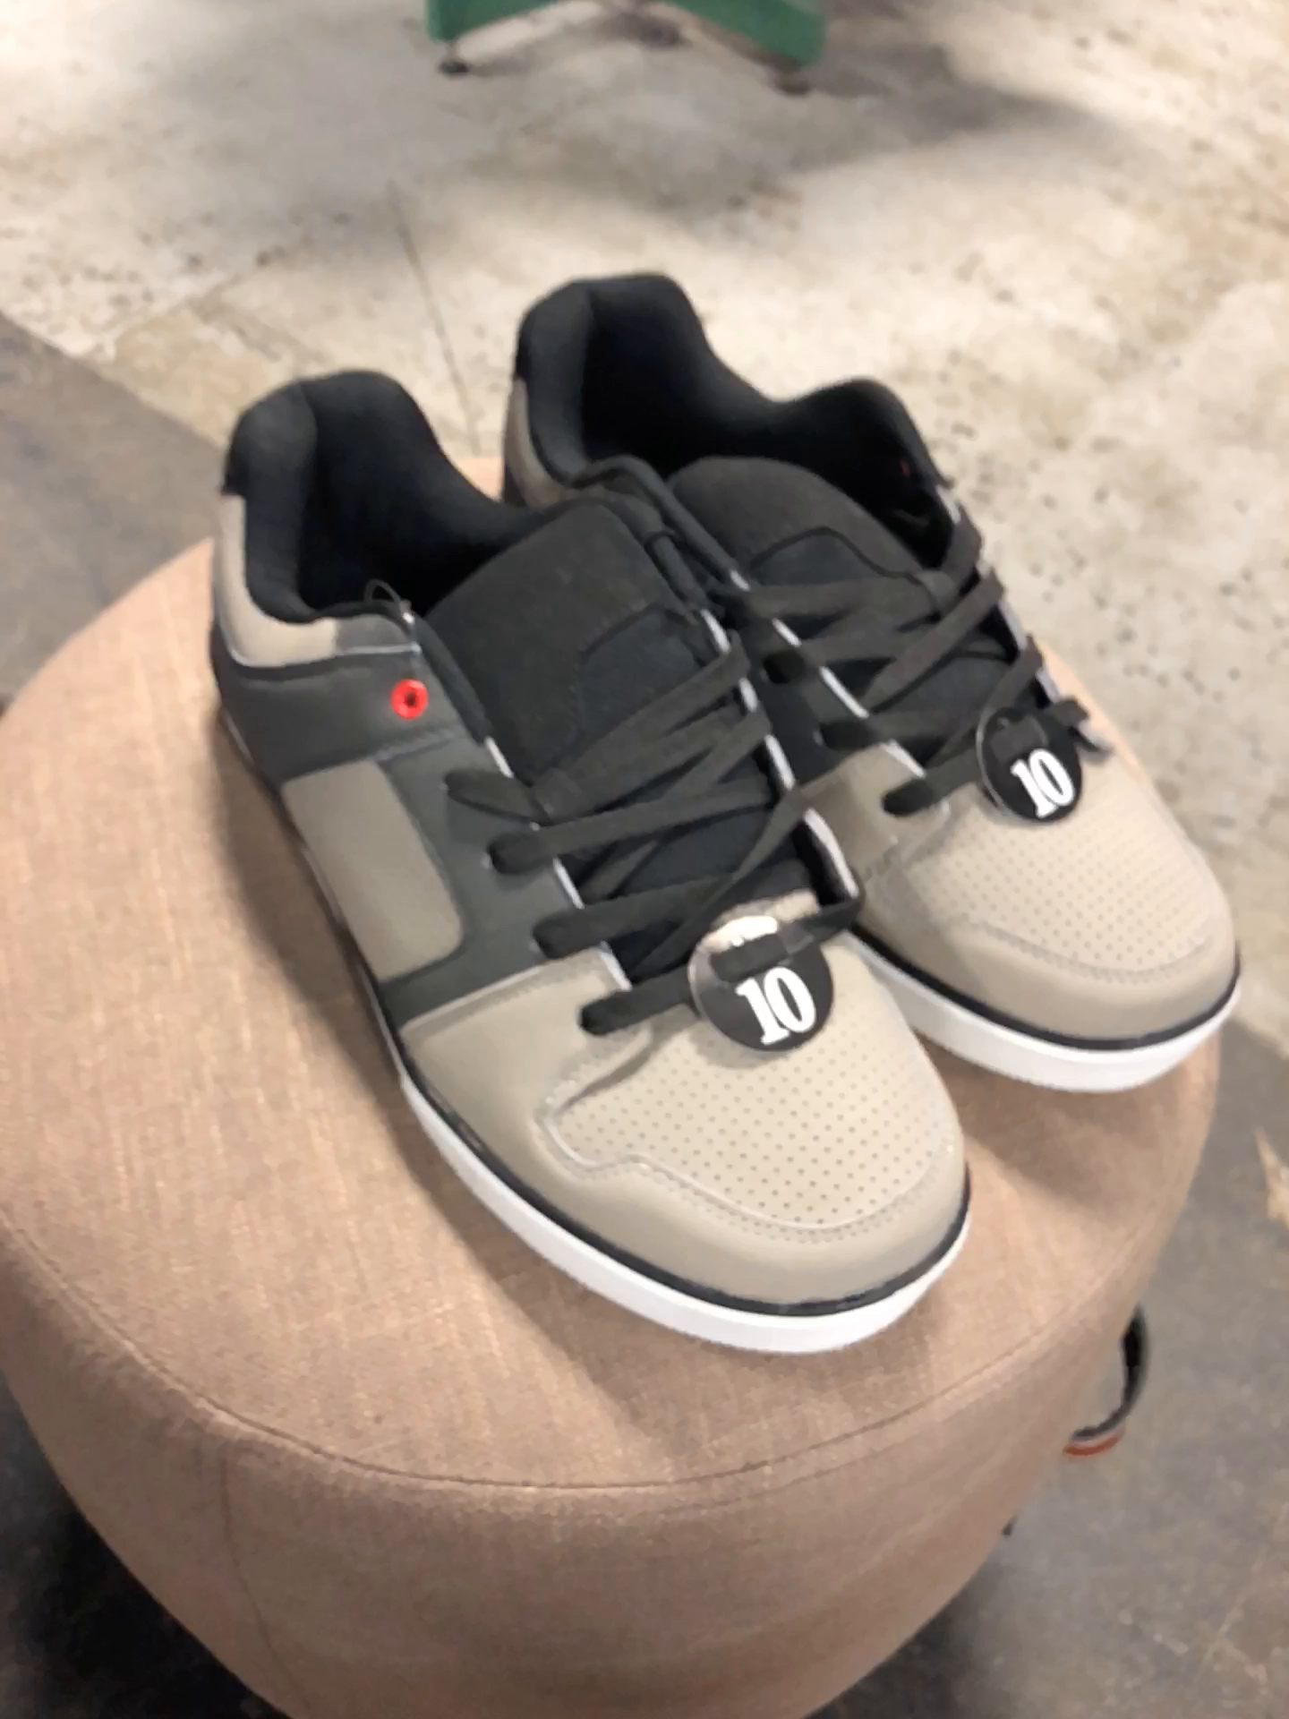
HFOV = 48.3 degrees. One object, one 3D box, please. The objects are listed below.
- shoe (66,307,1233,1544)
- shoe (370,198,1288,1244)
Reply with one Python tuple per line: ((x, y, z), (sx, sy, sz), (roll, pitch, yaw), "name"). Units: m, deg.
((-0.019, -0.002, 0.350), (0.120, 0.119, 0.261), (-27, 58, -23), "shoe")
((0.057, -0.062, 0.418), (0.120, 0.099, 0.311), (-29, 59, -25), "shoe")
